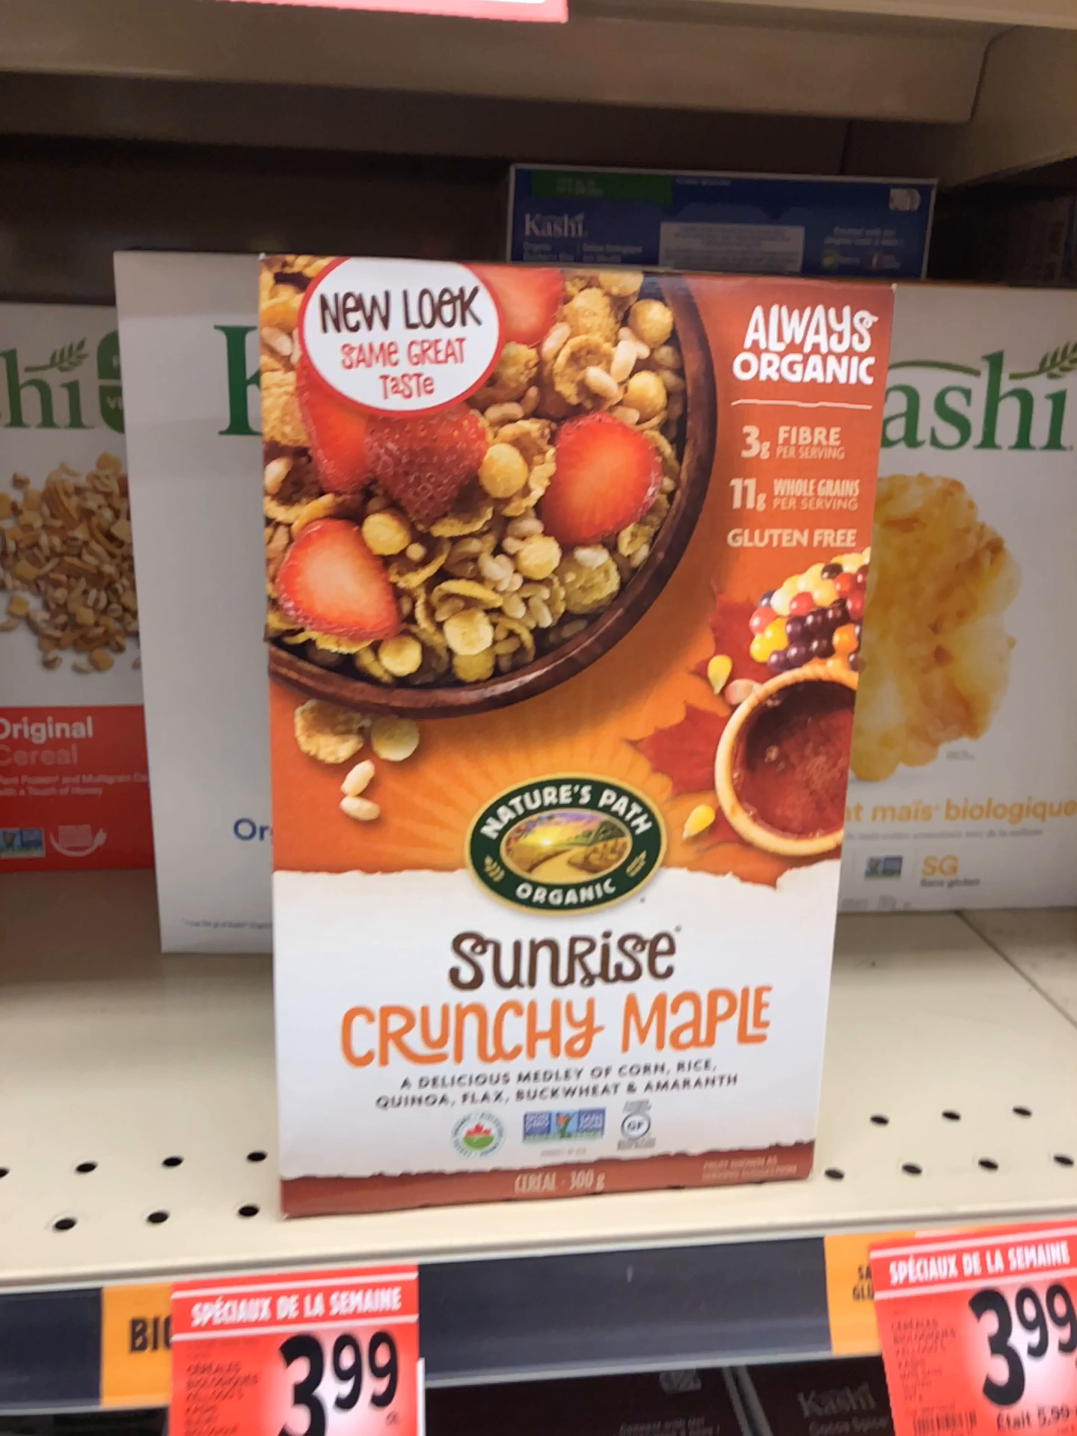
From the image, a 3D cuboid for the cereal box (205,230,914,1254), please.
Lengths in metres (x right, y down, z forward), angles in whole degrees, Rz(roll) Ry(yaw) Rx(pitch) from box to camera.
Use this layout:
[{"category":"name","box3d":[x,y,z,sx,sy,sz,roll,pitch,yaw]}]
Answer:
[{"category":"cereal box","box3d":[0.001,0.011,0.344,0.170,0.269,0.060,-1,14,-8]}]
